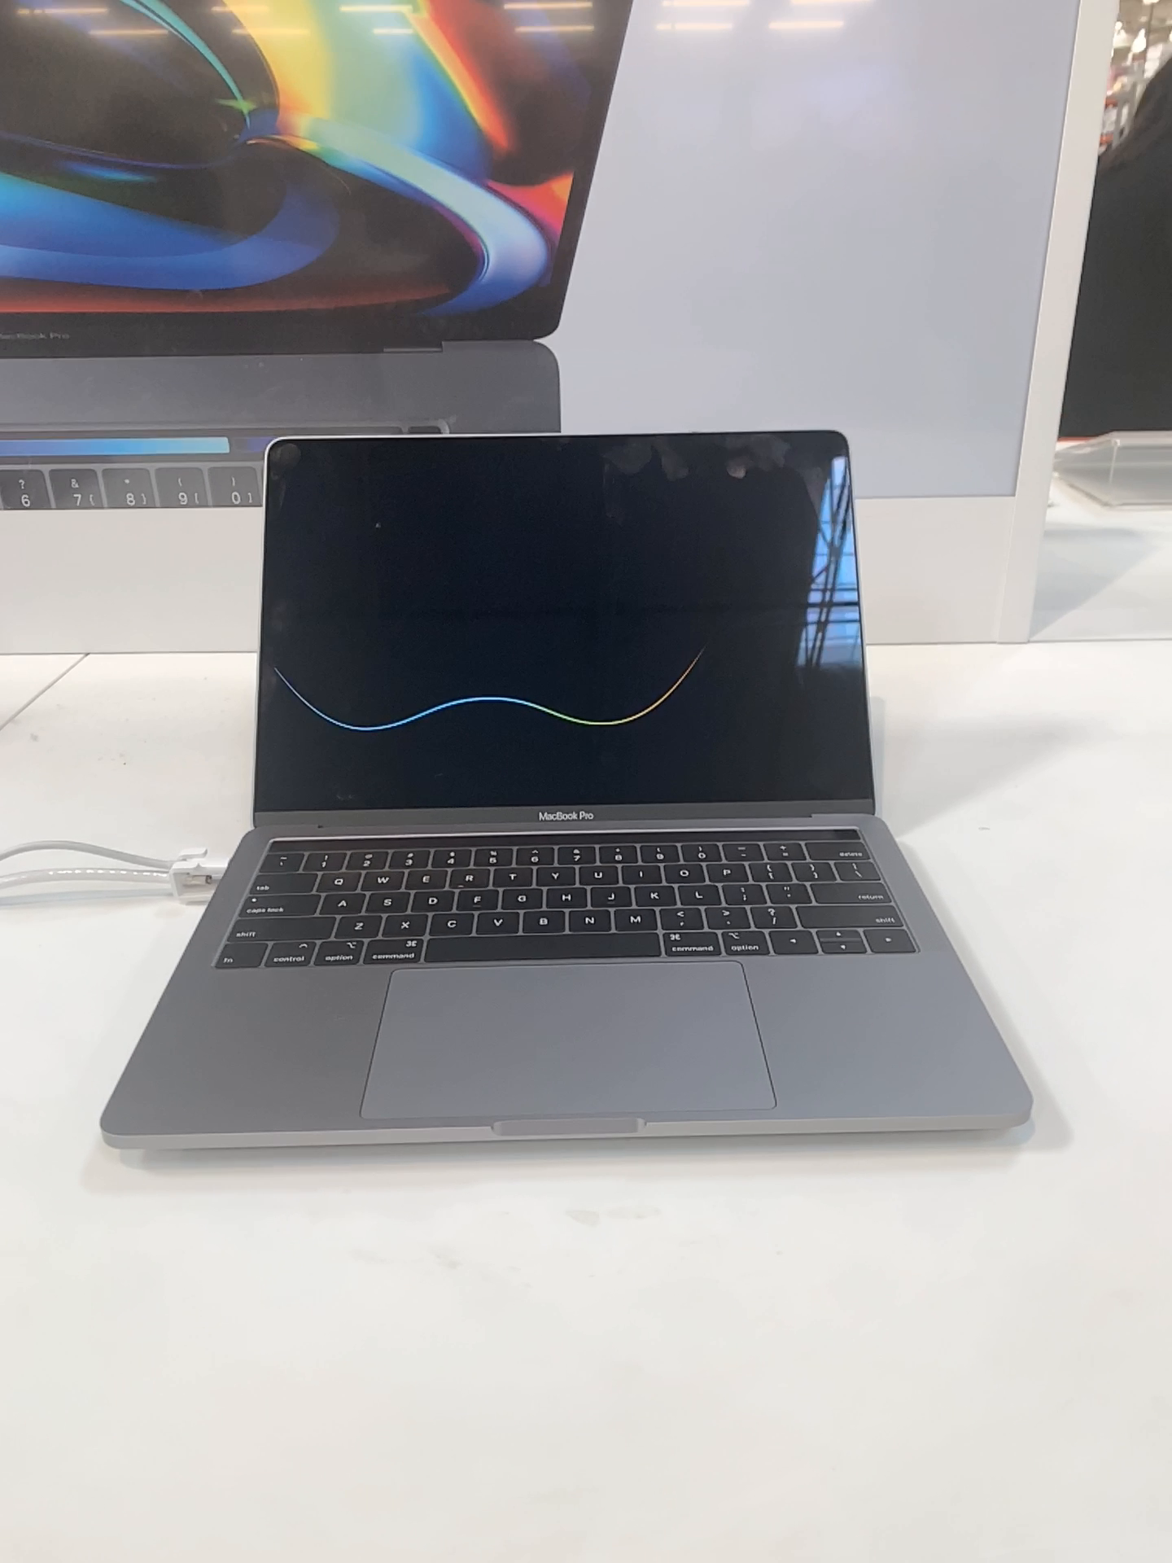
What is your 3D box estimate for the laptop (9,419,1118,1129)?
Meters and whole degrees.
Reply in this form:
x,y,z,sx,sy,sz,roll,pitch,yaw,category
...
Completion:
x,y,z,sx,sy,sz,roll,pitch,yaw,category
-0.006,-0.036,0.480,0.284,0.150,0.316,-1,26,-1,laptop
